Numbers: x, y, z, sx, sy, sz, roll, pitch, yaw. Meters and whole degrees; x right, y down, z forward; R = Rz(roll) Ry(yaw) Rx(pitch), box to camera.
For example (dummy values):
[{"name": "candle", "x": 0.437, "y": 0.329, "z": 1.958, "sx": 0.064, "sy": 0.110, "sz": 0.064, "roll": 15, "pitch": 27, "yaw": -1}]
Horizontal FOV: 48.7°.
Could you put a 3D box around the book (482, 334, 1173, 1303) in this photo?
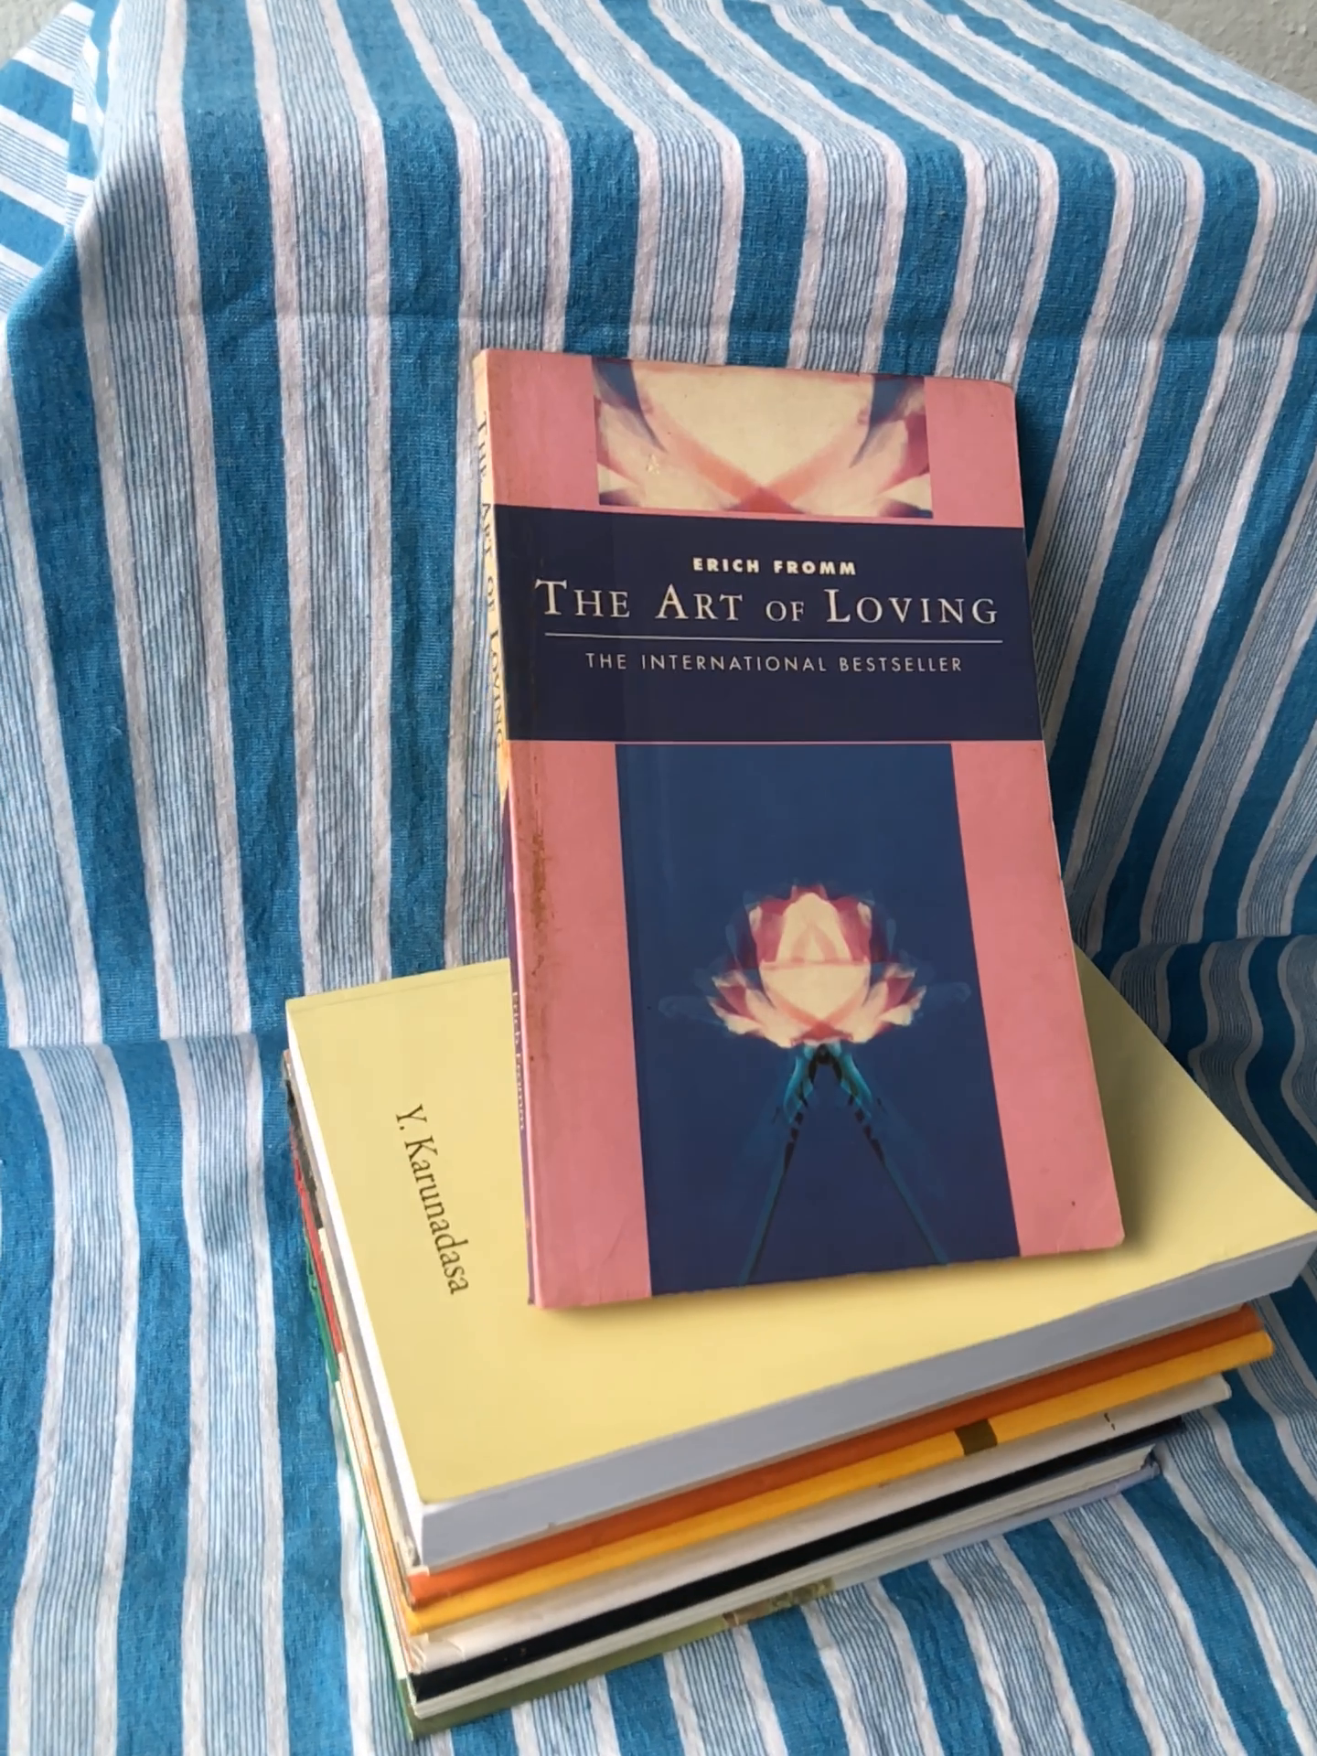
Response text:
[{"name": "book", "x": 0.034, "y": -0.018, "z": 0.306, "sx": 0.129, "sy": 0.015, "sz": 0.193, "roll": -3, "pitch": 82, "yaw": -13}]
